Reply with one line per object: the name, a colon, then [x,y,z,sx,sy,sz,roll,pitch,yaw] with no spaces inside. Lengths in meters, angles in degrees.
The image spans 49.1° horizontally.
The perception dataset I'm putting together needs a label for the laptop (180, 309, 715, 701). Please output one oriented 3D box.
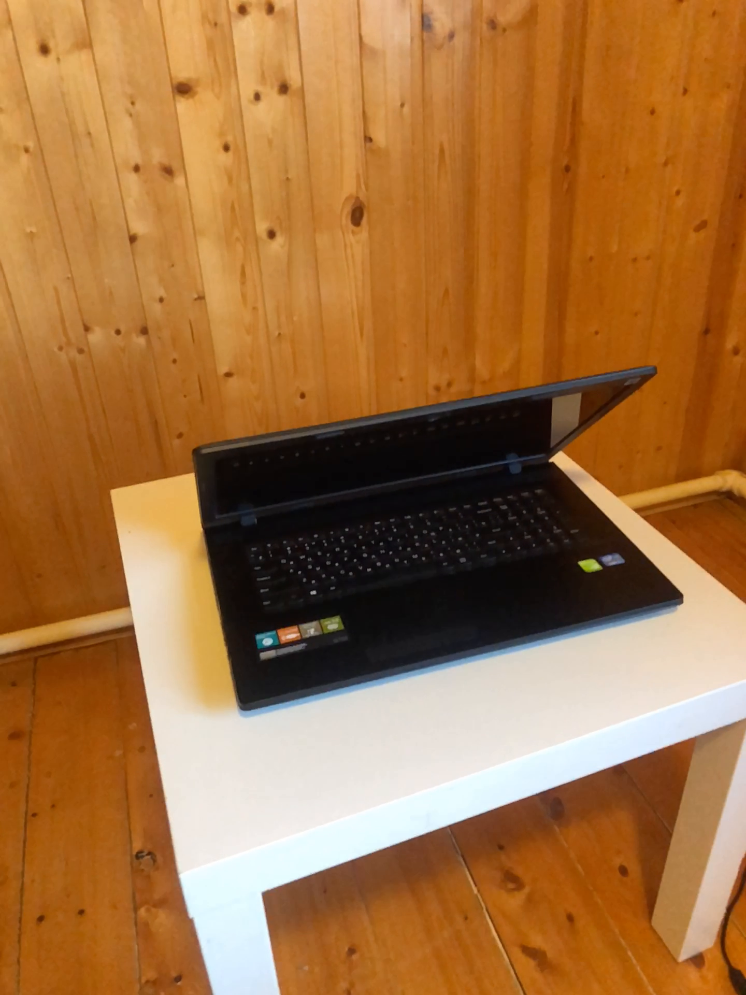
laptop: [0.052,-0.019,0.750,0.401,0.183,0.252,-11,33,-15]
